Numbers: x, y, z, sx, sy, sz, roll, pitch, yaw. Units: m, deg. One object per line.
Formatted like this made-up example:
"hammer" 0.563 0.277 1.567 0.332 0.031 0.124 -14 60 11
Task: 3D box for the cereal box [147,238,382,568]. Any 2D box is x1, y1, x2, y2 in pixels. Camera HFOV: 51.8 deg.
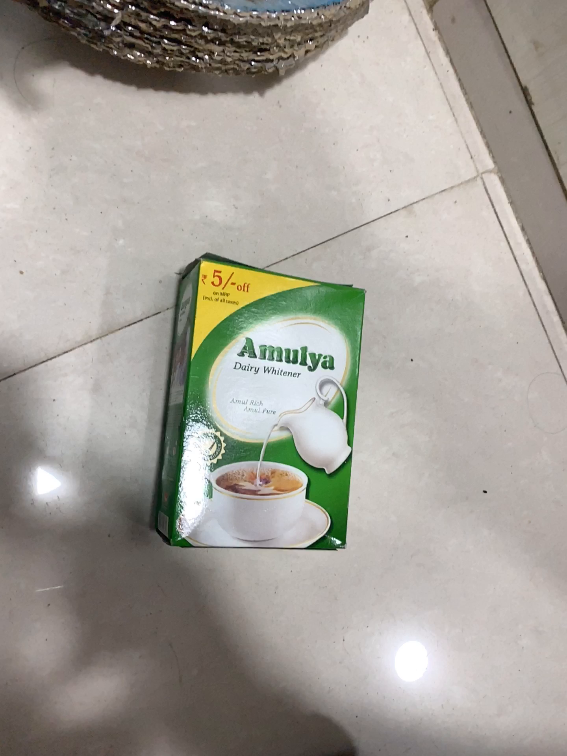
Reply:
"cereal box" -0.010 0.016 0.291 0.090 0.060 0.140 7 83 -21
